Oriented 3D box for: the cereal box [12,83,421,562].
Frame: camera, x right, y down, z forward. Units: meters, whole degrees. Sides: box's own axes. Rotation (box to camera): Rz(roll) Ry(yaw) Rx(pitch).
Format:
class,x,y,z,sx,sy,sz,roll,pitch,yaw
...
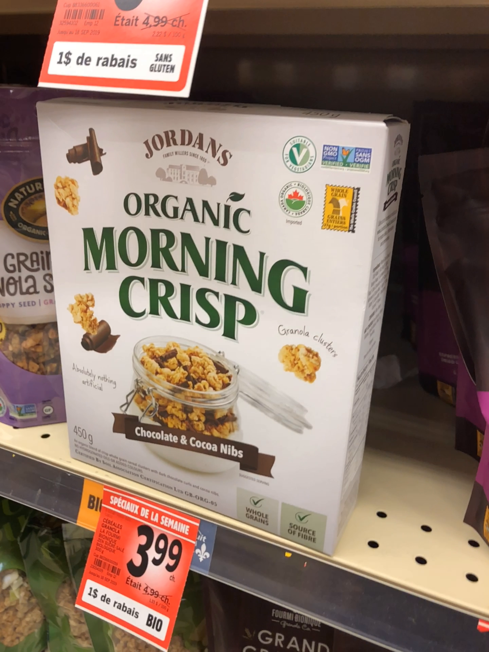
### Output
class,x,y,z,sx,sy,sz,roll,pitch,yaw
cereal box,-0.022,-0.008,0.282,0.180,0.209,0.050,13,25,23
